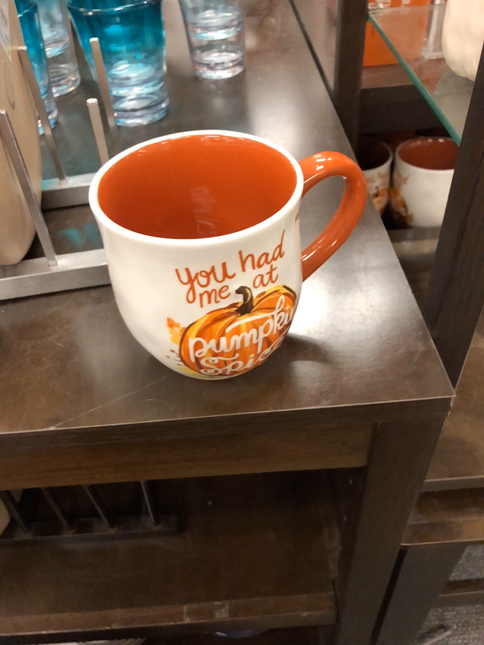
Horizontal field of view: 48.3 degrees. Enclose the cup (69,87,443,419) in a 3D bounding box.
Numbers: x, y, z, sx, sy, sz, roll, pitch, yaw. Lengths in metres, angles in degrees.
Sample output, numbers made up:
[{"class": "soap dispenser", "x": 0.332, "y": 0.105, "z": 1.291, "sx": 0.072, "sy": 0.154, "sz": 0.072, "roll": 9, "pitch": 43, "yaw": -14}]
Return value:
[{"class": "cup", "x": 0.005, "y": -0.043, "z": 0.285, "sx": 0.143, "sy": 0.094, "sz": 0.102, "roll": -22, "pitch": 47, "yaw": -15}]
